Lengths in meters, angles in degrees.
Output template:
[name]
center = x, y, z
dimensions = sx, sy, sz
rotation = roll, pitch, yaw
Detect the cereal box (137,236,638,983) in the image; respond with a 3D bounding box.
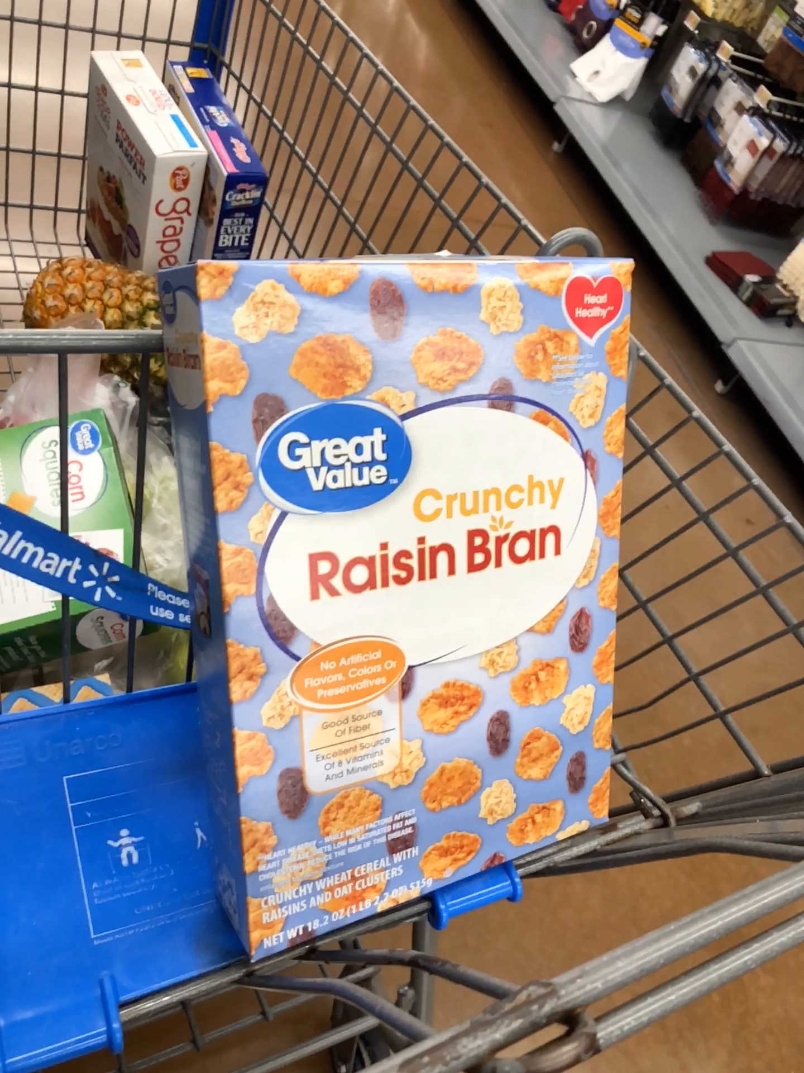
[cereal box]
center = 0.005, 0.019, 0.399
dimensions = 0.200, 0.280, 0.070
rotation = -10, 15, -31
